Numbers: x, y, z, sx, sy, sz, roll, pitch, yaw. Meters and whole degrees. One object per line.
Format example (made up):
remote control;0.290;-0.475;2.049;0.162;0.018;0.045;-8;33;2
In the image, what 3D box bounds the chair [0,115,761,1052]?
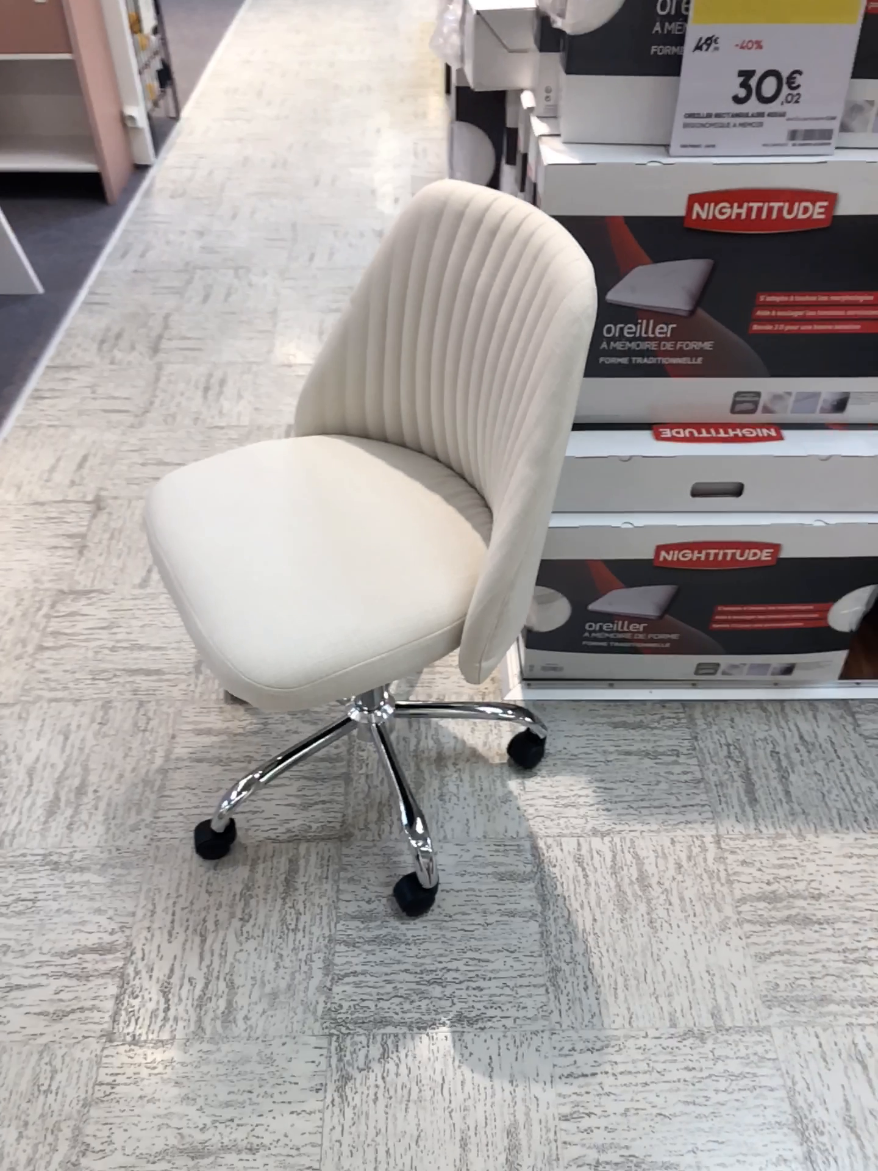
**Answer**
chair;-0.156;-0.043;1.246;0.632;0.785;0.702;-25;48;-25
